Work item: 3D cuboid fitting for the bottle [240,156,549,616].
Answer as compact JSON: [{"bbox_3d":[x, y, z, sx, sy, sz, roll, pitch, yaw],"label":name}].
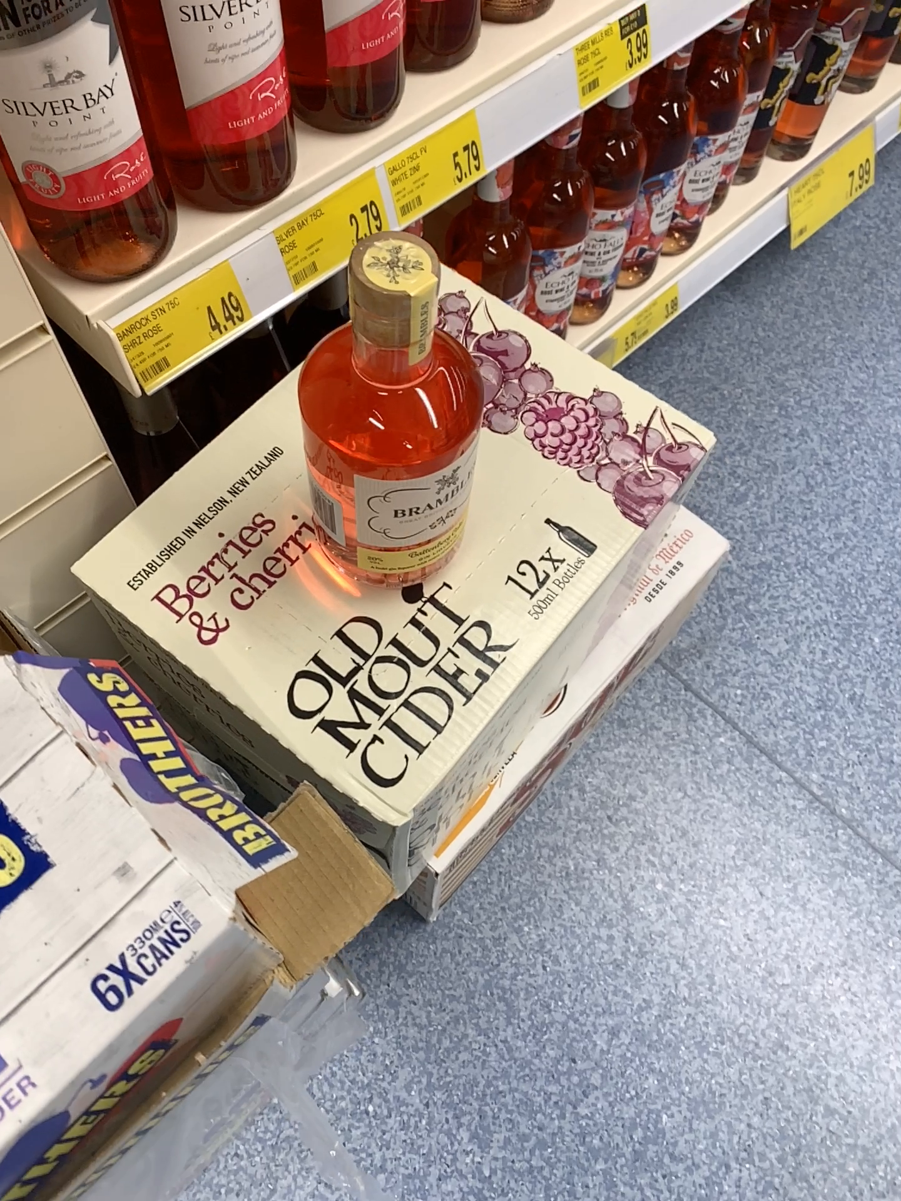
[{"bbox_3d":[-0.023,-0.080,0.401,0.077,0.176,0.076,1,63,-2],"label":"bottle"}]
